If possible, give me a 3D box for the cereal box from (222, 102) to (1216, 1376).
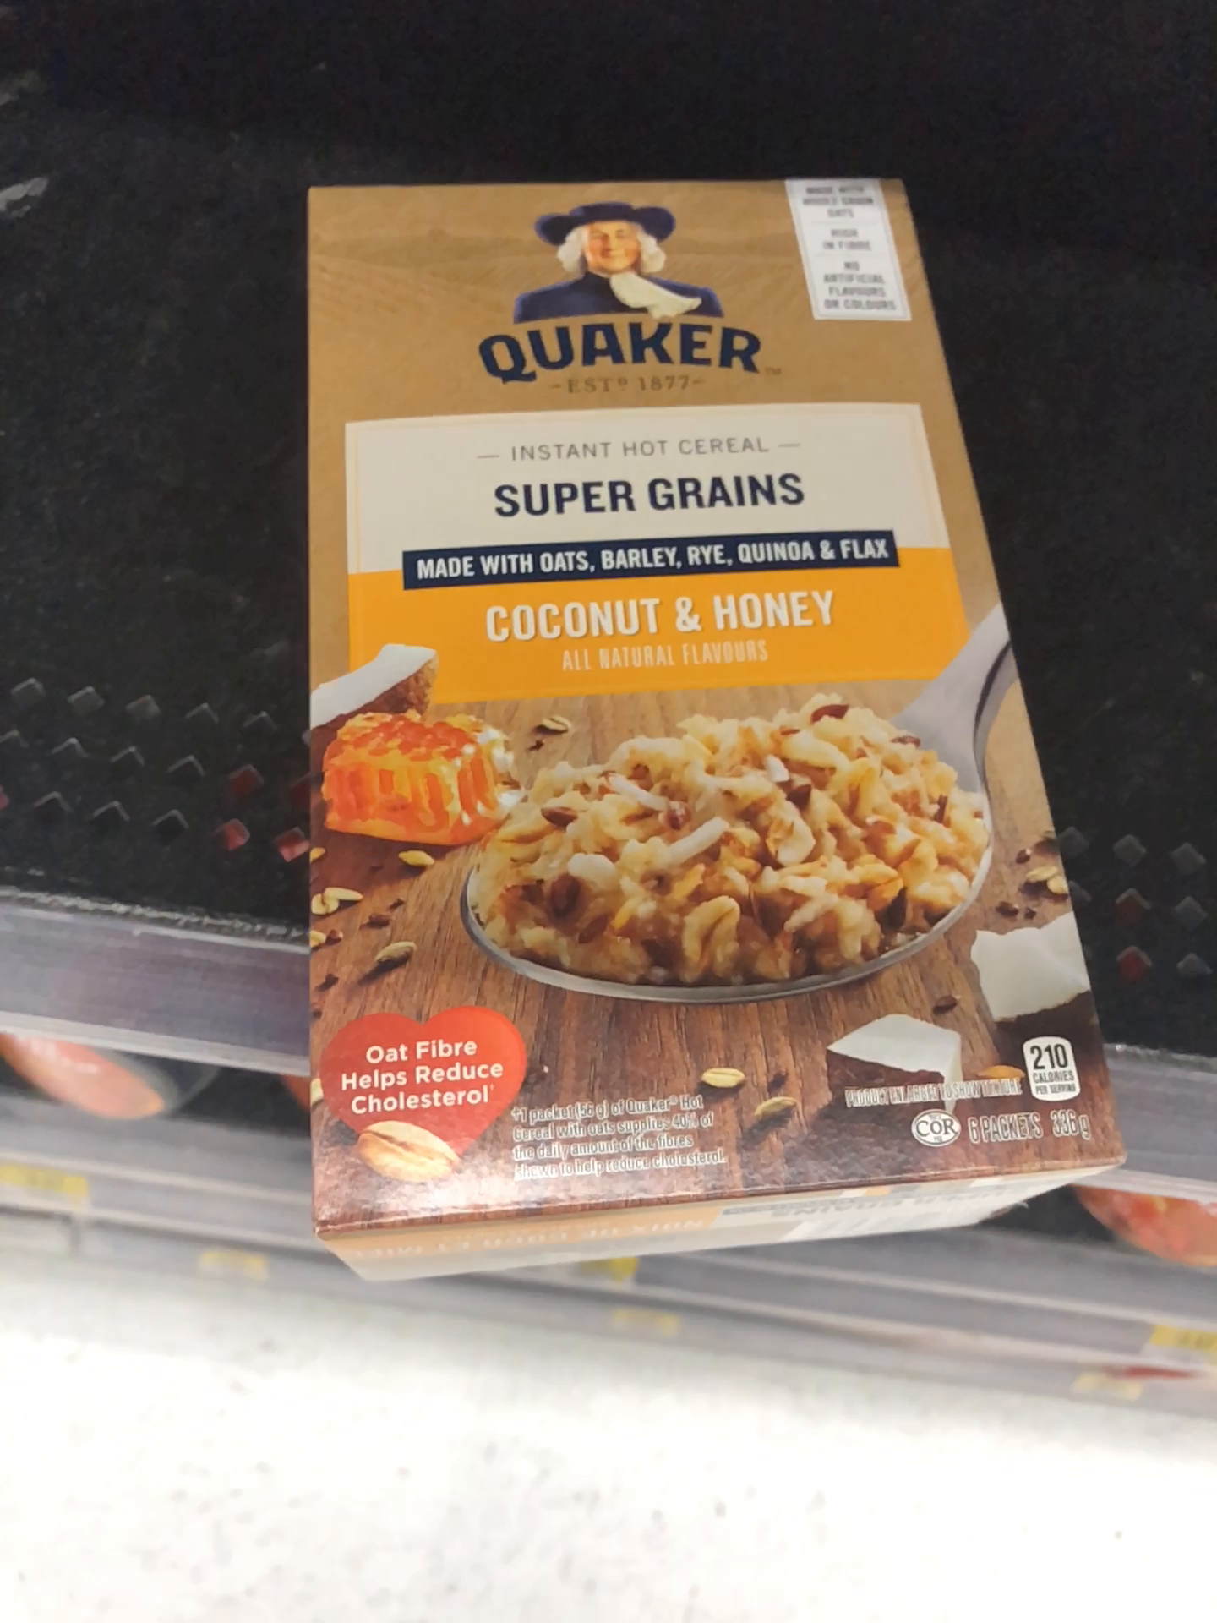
[{"bbox_3d":[0.013,-0.026,0.253,0.140,0.060,0.230,-2,65,-4],"label":"cereal box"}]
